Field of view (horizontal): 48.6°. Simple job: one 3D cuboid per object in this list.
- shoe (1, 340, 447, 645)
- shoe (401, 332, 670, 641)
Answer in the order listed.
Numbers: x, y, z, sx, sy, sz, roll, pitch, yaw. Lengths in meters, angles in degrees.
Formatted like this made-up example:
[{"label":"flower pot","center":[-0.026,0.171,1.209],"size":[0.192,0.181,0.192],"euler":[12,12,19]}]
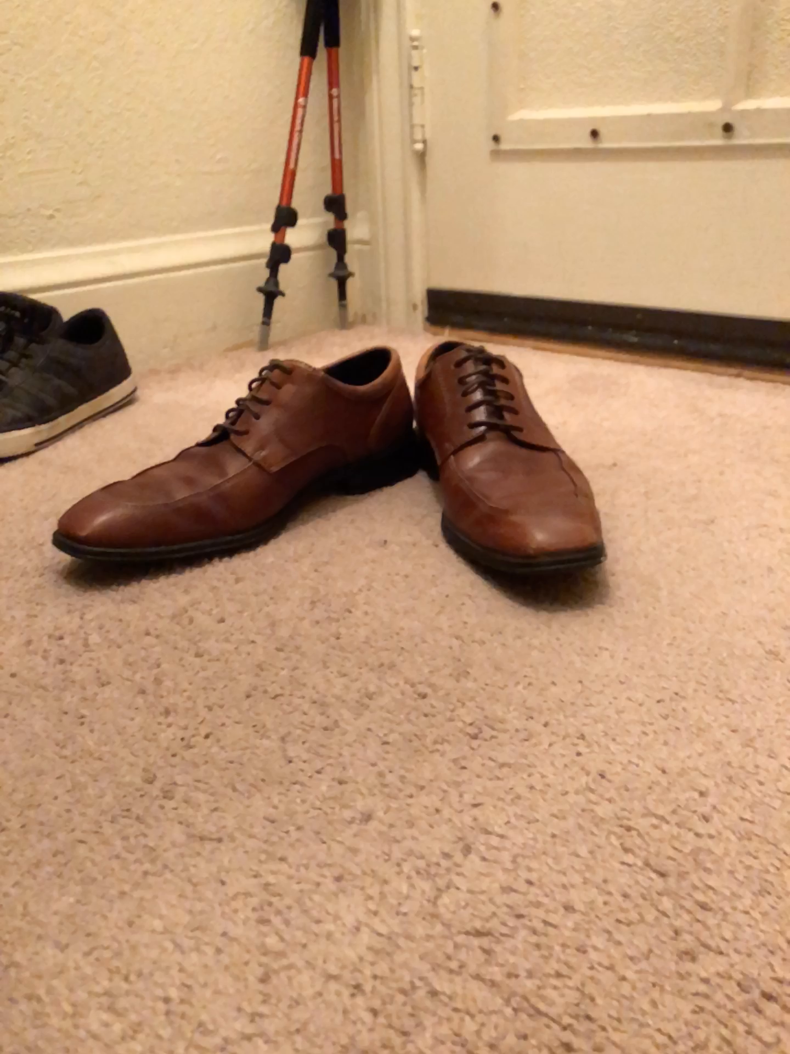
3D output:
[{"label":"shoe","center":[-0.107,-0.045,0.652],"size":[0.120,0.119,0.301],"euler":[20,33,41]},{"label":"shoe","center":[0.078,-0.050,0.622],"size":[0.100,0.109,0.301],"euler":[-5,24,-7]}]
